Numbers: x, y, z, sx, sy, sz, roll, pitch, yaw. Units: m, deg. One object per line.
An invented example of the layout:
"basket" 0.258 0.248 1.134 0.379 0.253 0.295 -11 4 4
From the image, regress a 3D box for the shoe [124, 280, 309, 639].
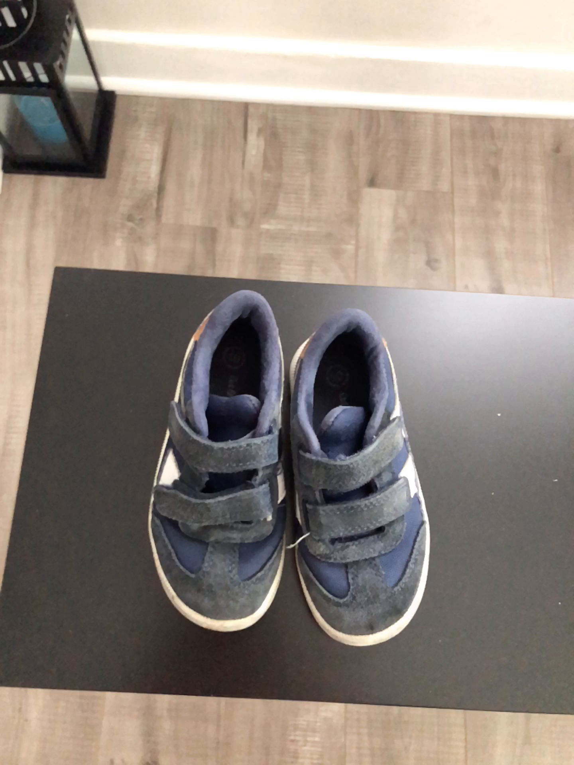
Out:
"shoe" -0.035 0.043 0.366 0.082 0.068 0.185 3 74 -1

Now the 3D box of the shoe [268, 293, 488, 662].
"shoe" 0.043 0.051 0.367 0.088 0.068 0.185 -6 75 -4
